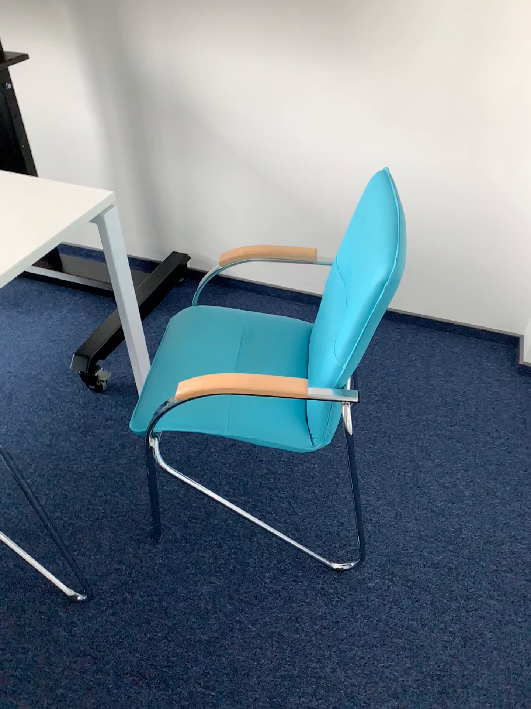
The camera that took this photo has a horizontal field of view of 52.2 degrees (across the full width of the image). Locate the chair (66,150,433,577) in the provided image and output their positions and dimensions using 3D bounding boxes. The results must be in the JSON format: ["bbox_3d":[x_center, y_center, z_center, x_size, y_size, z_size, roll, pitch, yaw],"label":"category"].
[{"bbox_3d":[-0.002,0.031,1.390,0.600,0.845,0.623,5,41,5],"label":"chair"}]
